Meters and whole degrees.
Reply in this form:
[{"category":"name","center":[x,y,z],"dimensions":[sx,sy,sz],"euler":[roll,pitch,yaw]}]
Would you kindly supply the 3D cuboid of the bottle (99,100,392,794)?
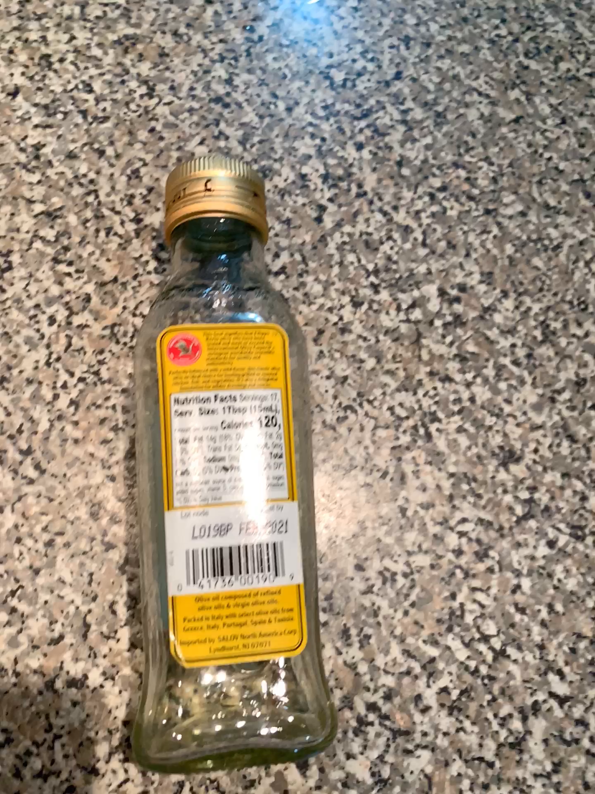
[{"category":"bottle","center":[-0.021,0.010,0.181],"dimensions":[0.060,0.060,0.180],"euler":[-2,73,-9]}]
